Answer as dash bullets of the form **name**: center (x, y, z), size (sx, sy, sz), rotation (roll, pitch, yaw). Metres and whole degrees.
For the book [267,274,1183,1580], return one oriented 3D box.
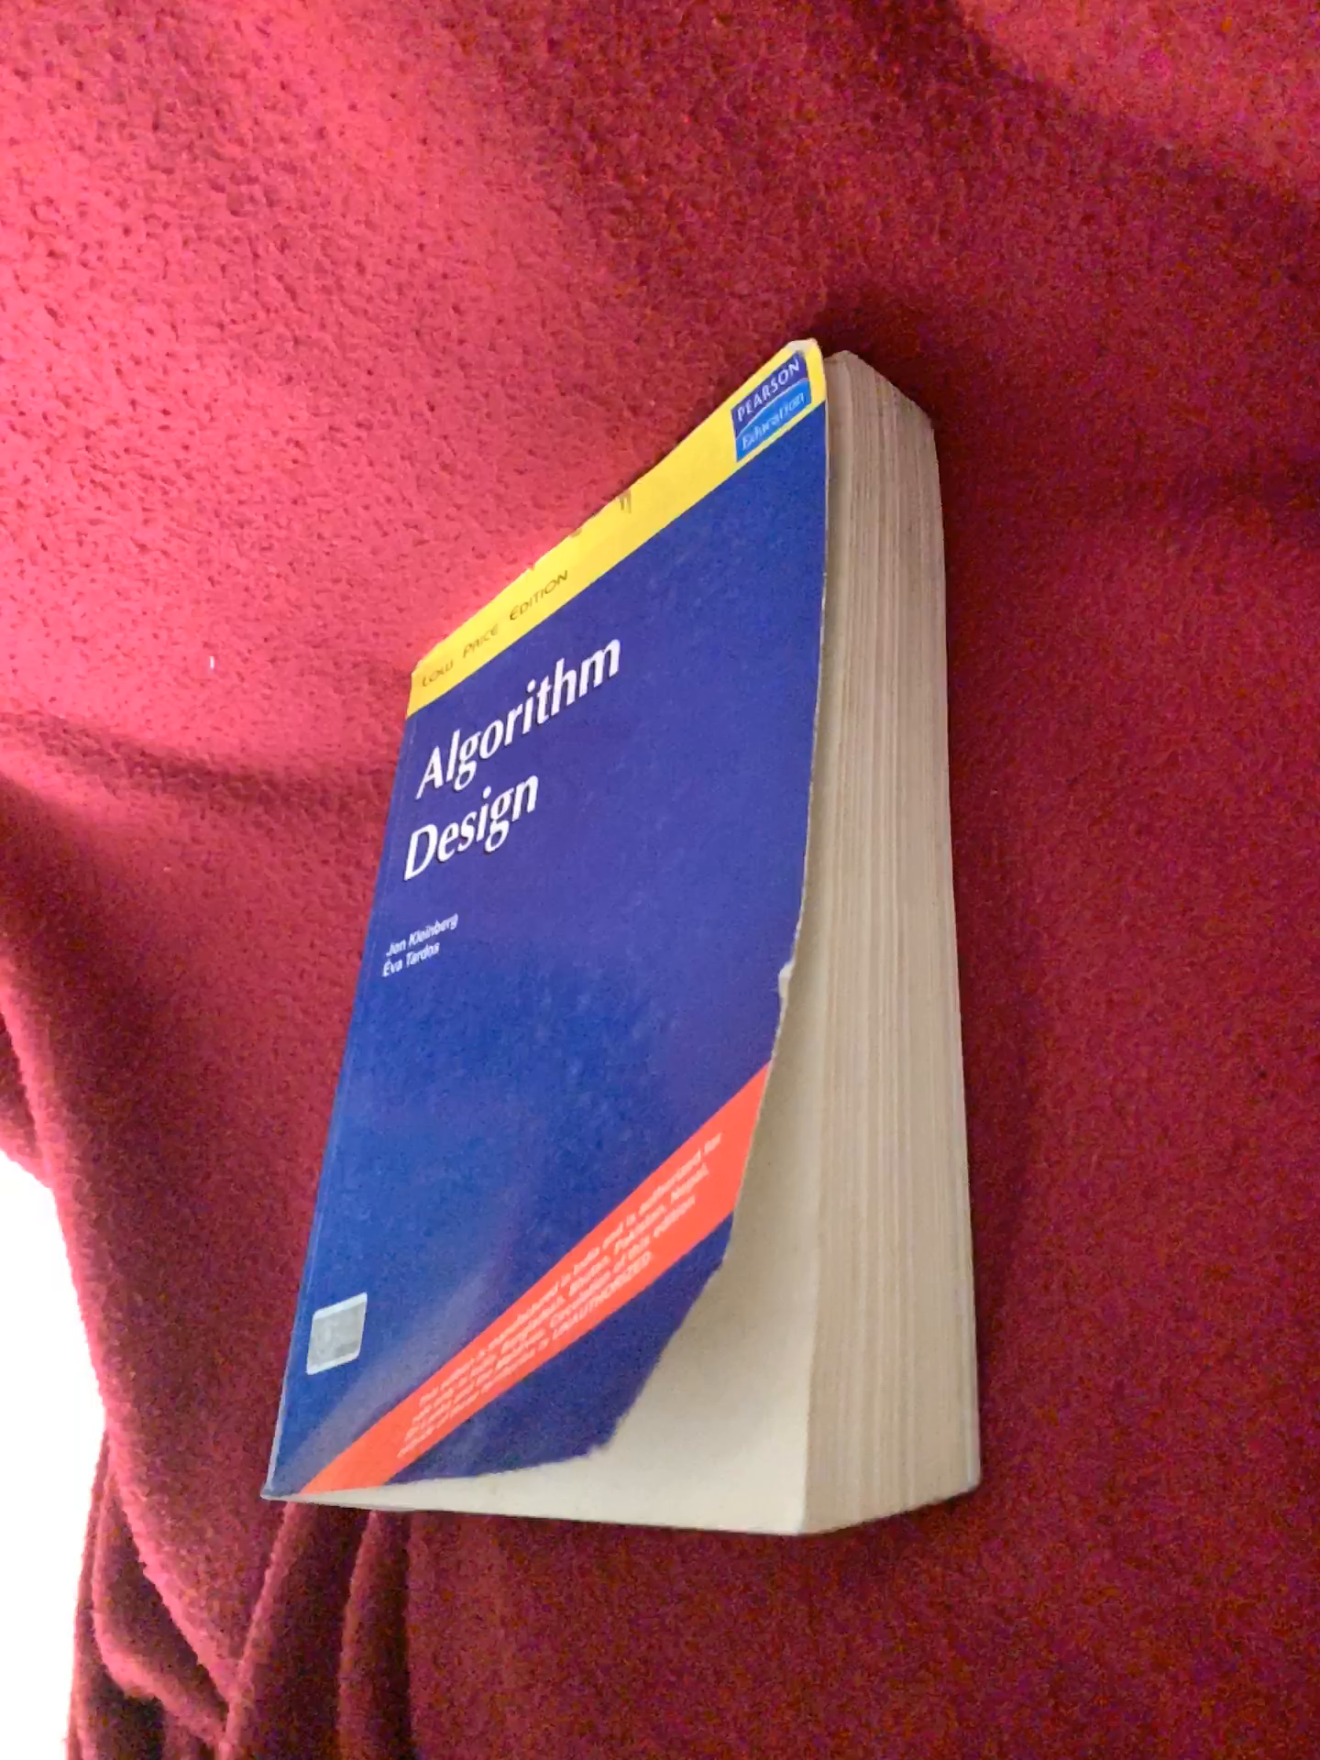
- **book**: center (0.004, 0.018, 0.321), size (0.191, 0.060, 0.251), rotation (-24, 52, 42)
